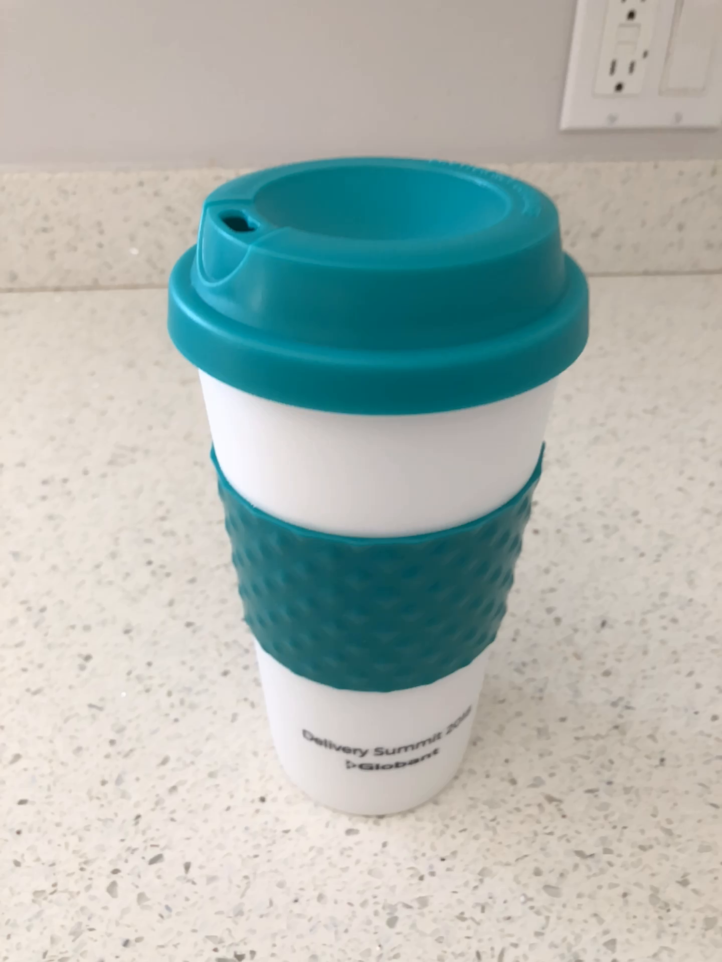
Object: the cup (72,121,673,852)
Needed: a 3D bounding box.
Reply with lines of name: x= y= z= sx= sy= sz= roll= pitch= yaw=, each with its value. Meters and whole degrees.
cup: x=0.005 y=0.004 z=0.225 sx=0.100 sy=0.169 sz=0.100 roll=0 pitch=36 yaw=0
